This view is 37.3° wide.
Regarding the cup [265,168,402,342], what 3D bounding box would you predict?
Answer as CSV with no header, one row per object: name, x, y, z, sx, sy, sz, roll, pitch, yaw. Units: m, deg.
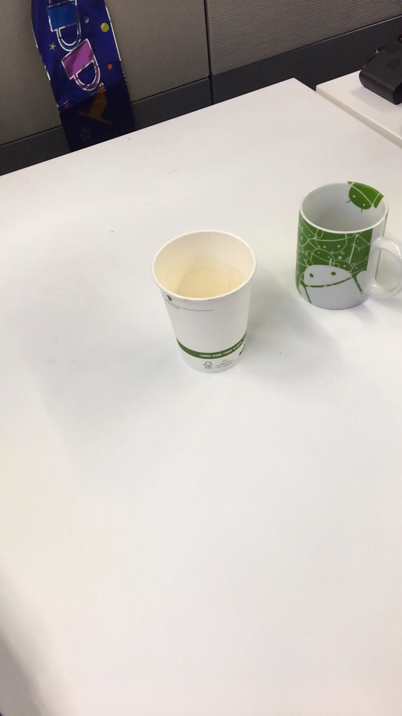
cup,0.136,-0.099,0.564,0.120,0.090,0.090,34,60,30

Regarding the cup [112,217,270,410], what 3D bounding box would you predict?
cup,-0.004,-0.039,0.518,0.090,0.110,0.090,-3,49,3
